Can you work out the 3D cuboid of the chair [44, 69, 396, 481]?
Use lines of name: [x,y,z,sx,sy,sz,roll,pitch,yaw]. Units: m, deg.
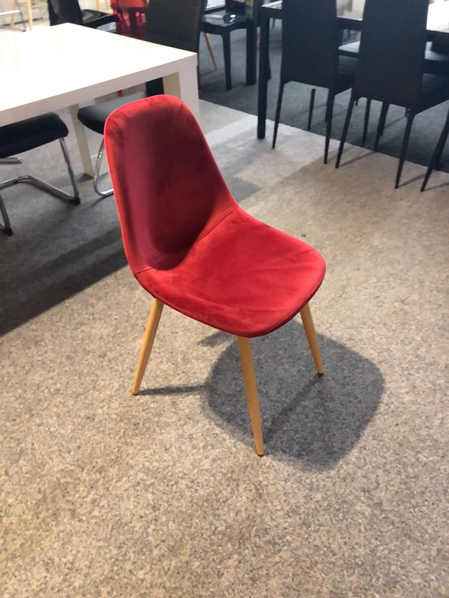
chair: [0.011,-0.078,1.316,0.550,0.815,0.533,24,46,28]
